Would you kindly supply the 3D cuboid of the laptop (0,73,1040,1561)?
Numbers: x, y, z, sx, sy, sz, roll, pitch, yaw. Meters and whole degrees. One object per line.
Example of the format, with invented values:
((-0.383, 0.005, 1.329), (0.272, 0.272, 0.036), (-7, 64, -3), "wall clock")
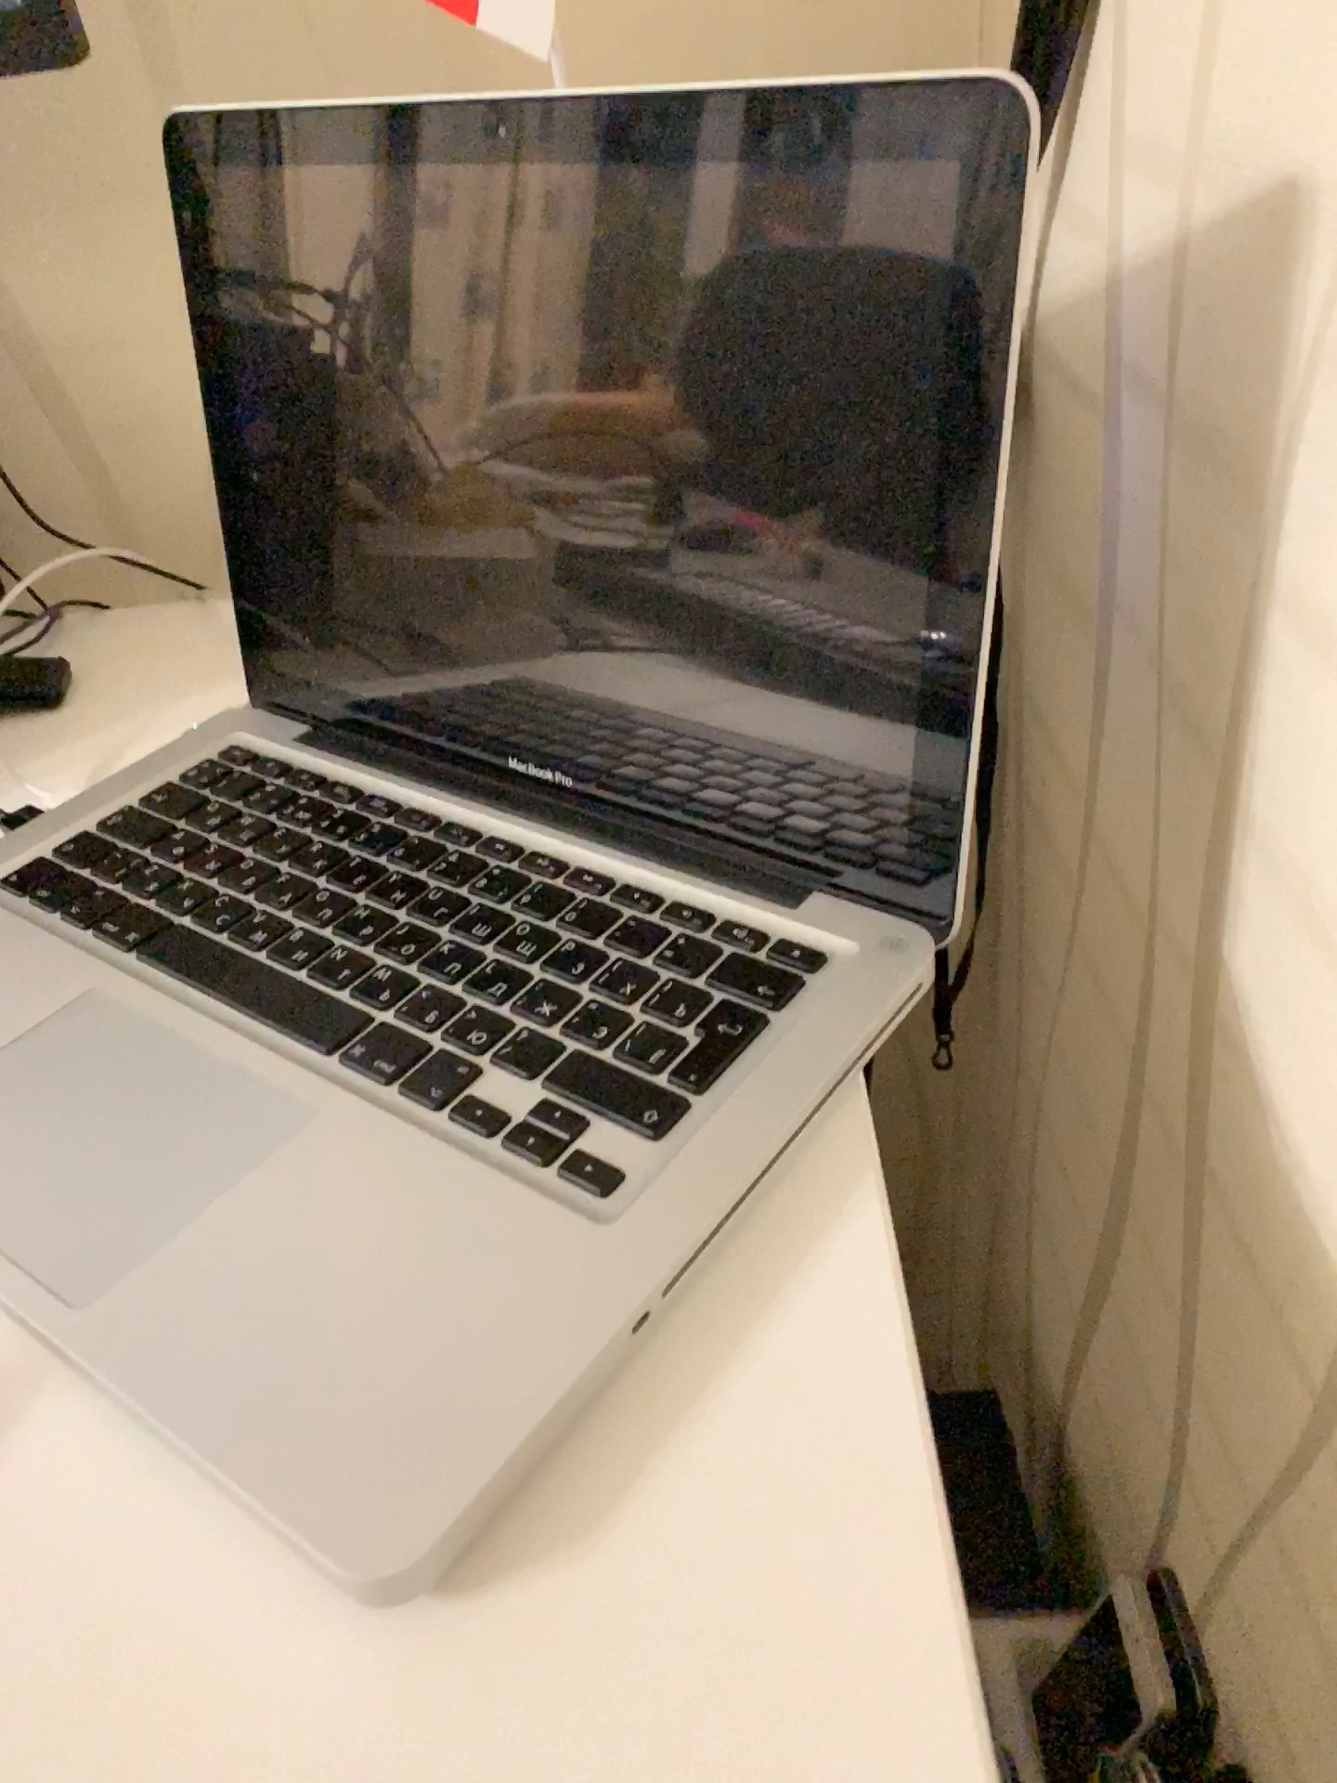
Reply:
((-0.104, -0.066, 0.353), (0.301, 0.196, 0.250), (19, 43, 33), "laptop")
